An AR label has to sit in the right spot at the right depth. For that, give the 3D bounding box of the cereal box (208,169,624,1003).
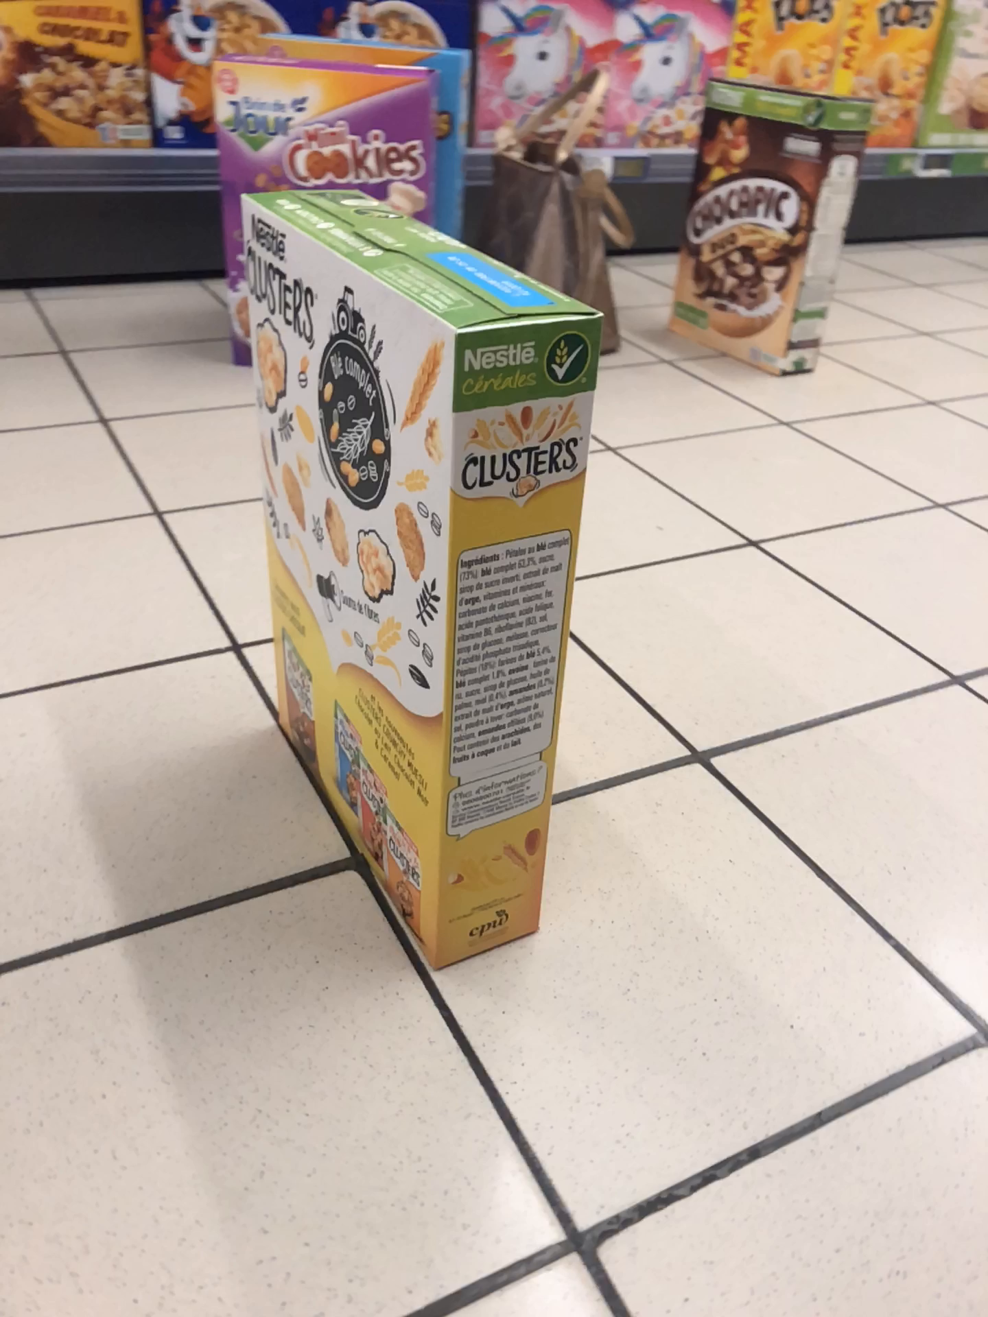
[{"bbox_3d":[-0.047,-0.036,0.458,0.060,0.278,0.211,-14,37,-26],"label":"cereal box"}]
